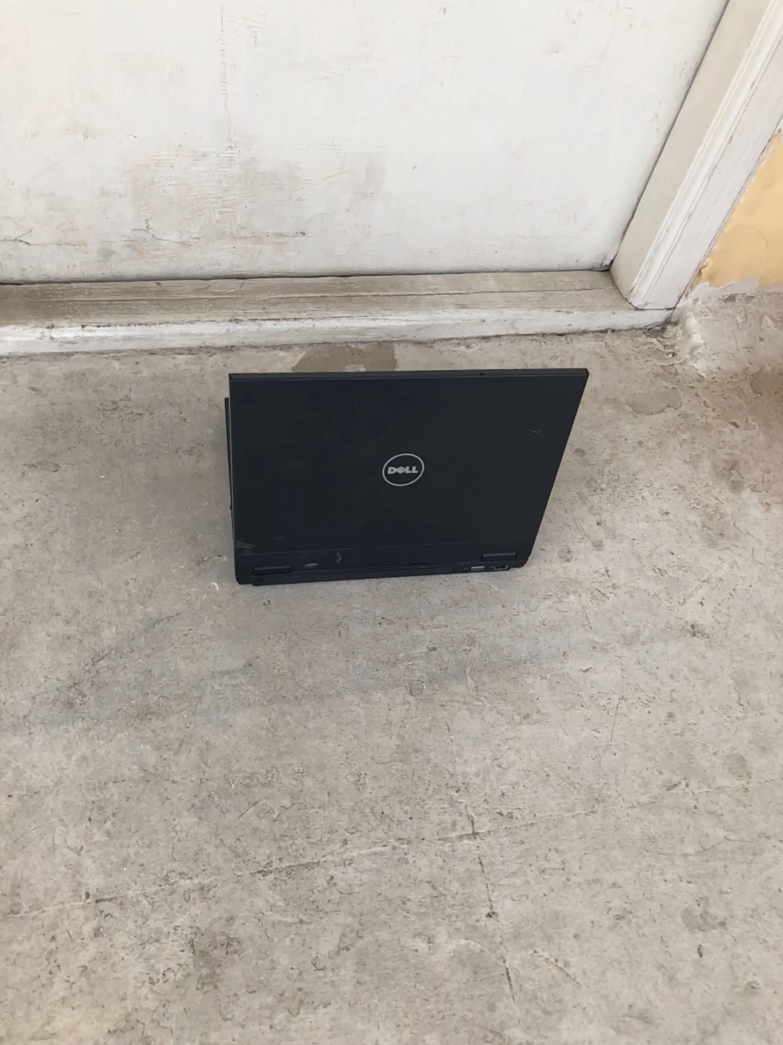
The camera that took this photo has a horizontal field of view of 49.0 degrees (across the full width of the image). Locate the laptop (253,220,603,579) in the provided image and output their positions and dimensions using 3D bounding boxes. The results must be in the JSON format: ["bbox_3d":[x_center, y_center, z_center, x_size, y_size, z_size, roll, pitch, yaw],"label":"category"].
[{"bbox_3d":[0.009,-0.117,0.852,0.279,0.252,0.225,-2,58,-11],"label":"laptop"}]
